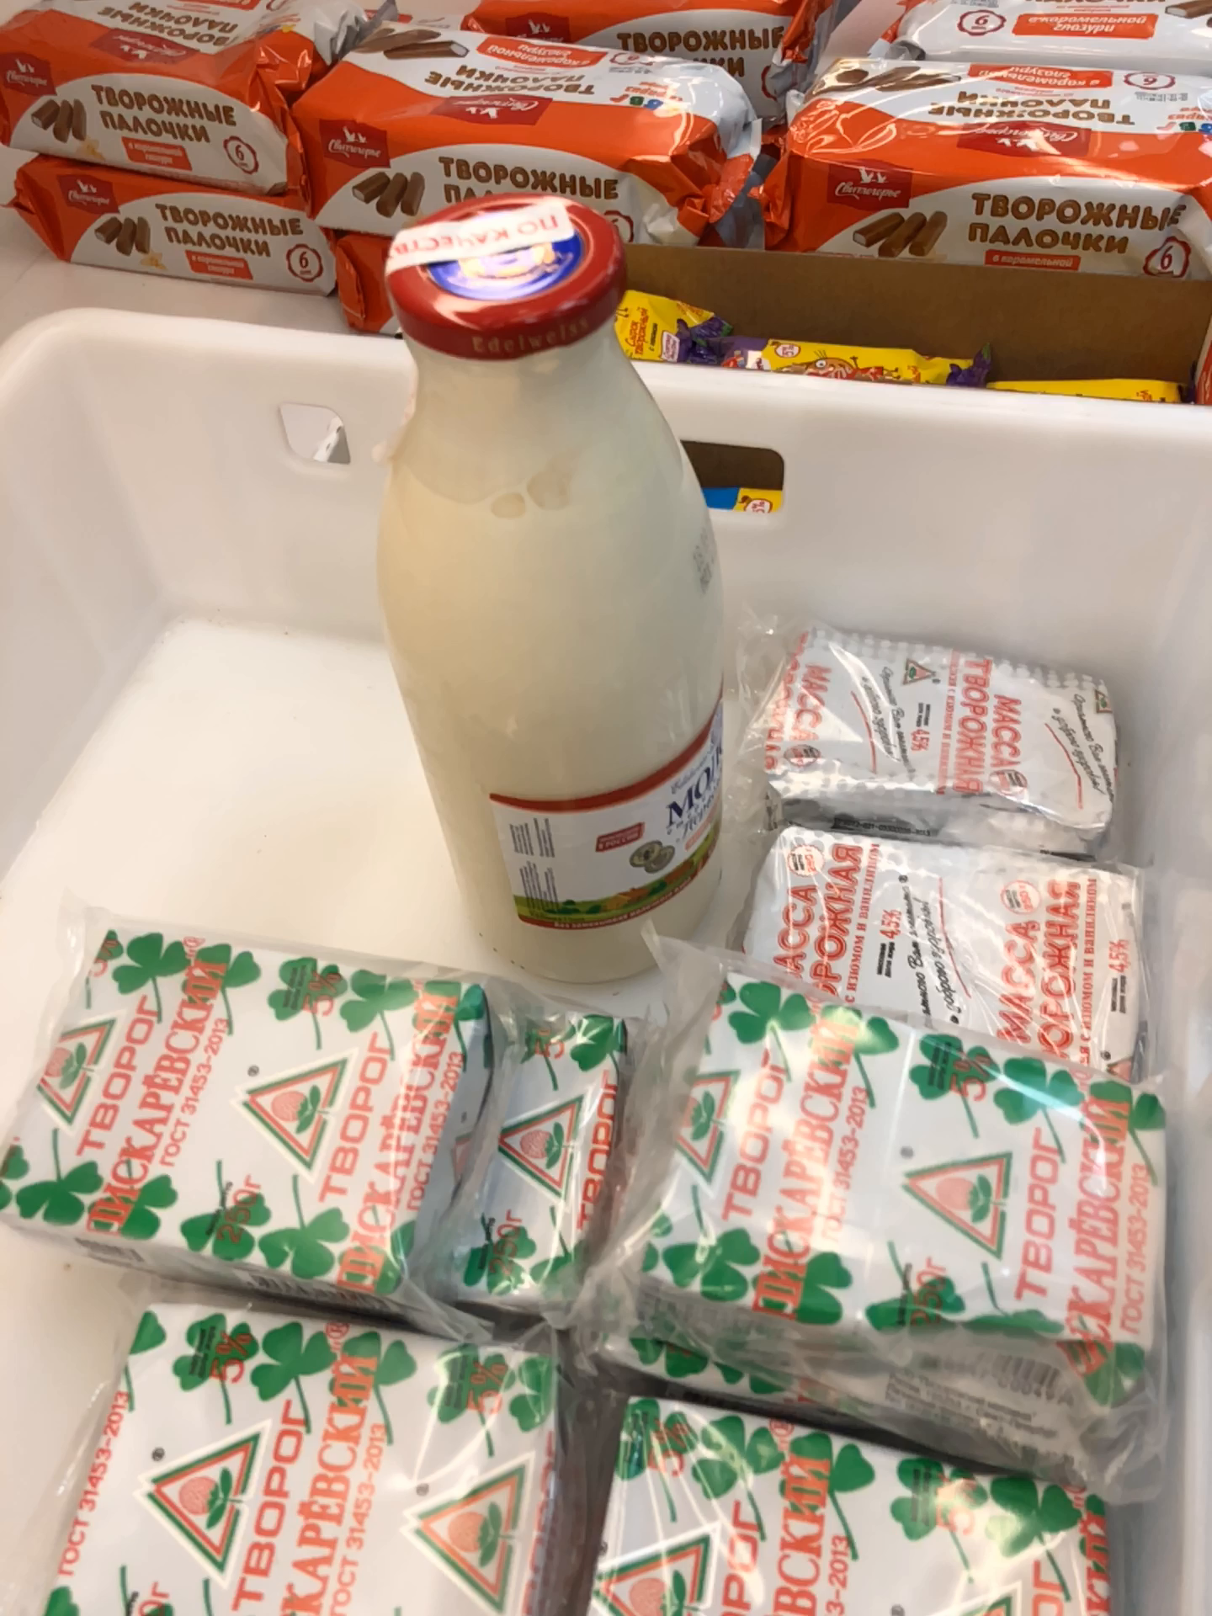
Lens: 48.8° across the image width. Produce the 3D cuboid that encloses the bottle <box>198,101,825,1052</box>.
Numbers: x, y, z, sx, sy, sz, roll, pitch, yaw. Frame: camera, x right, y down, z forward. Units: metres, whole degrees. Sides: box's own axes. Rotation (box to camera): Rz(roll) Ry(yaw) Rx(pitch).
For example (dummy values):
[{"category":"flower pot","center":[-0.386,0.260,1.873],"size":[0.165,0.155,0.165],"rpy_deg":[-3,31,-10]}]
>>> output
[{"category":"bottle","center":[-0.006,-0.041,0.326],"size":[0.090,0.209,0.090],"rpy_deg":[-3,51,3]}]
